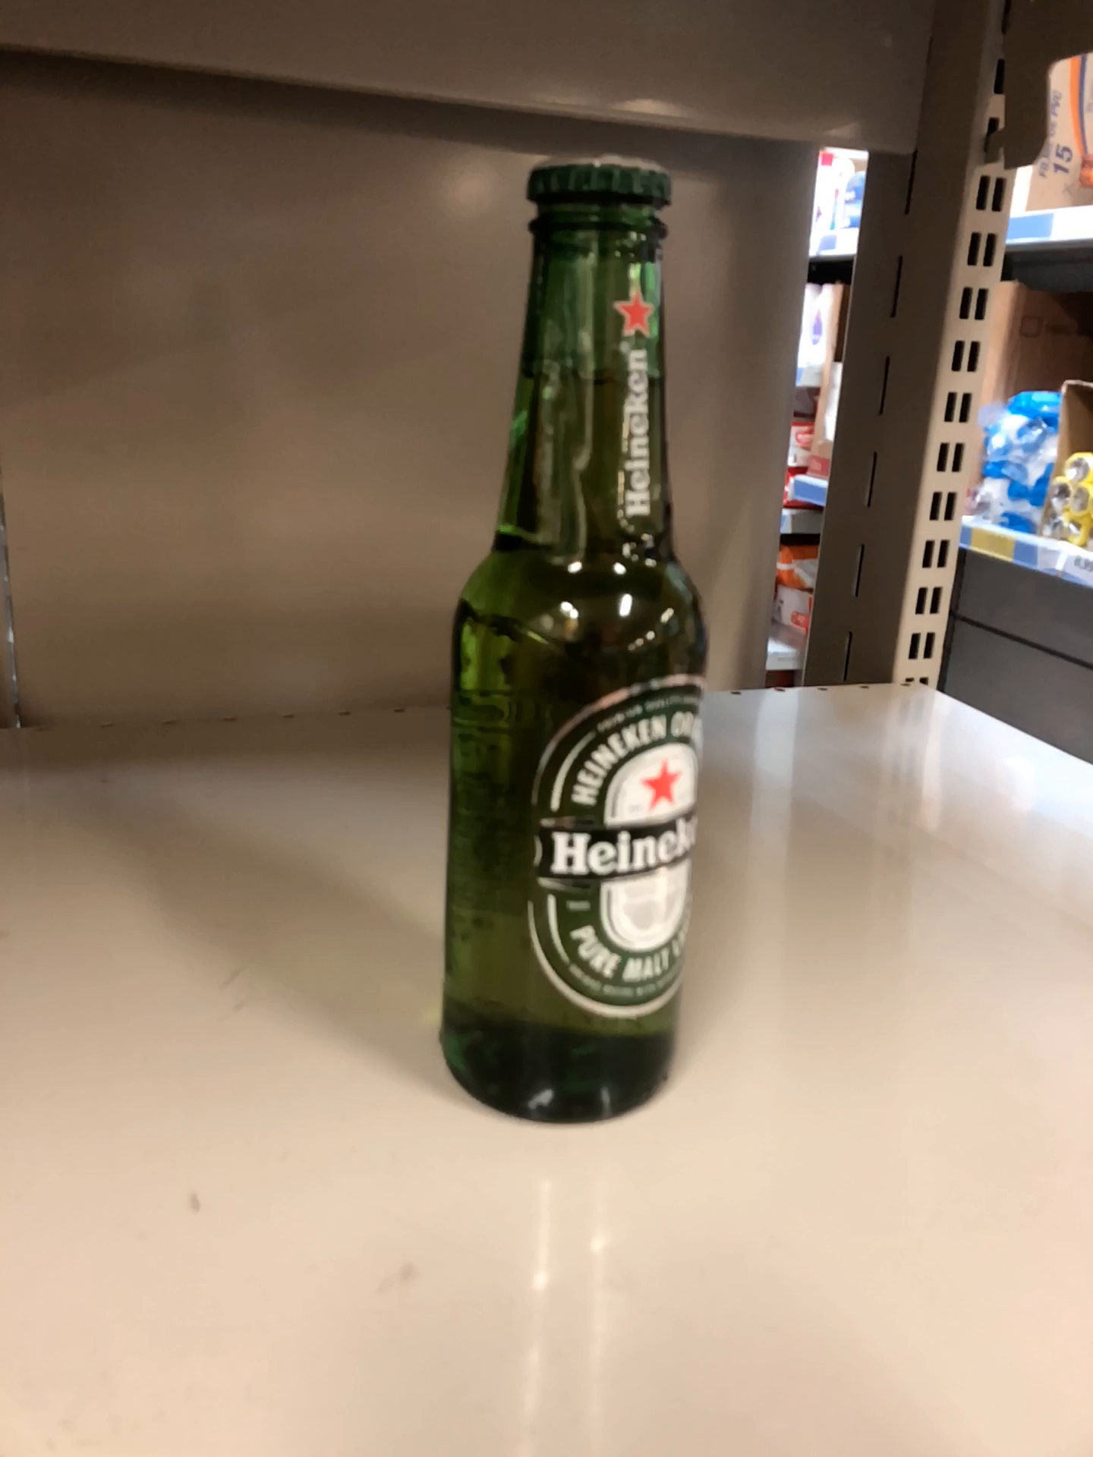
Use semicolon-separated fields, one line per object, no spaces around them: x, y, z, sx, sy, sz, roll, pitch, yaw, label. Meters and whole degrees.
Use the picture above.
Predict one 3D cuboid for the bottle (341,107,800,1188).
0.000;-0.015;0.254;0.060;0.199;0.060;3;18;-1;bottle
